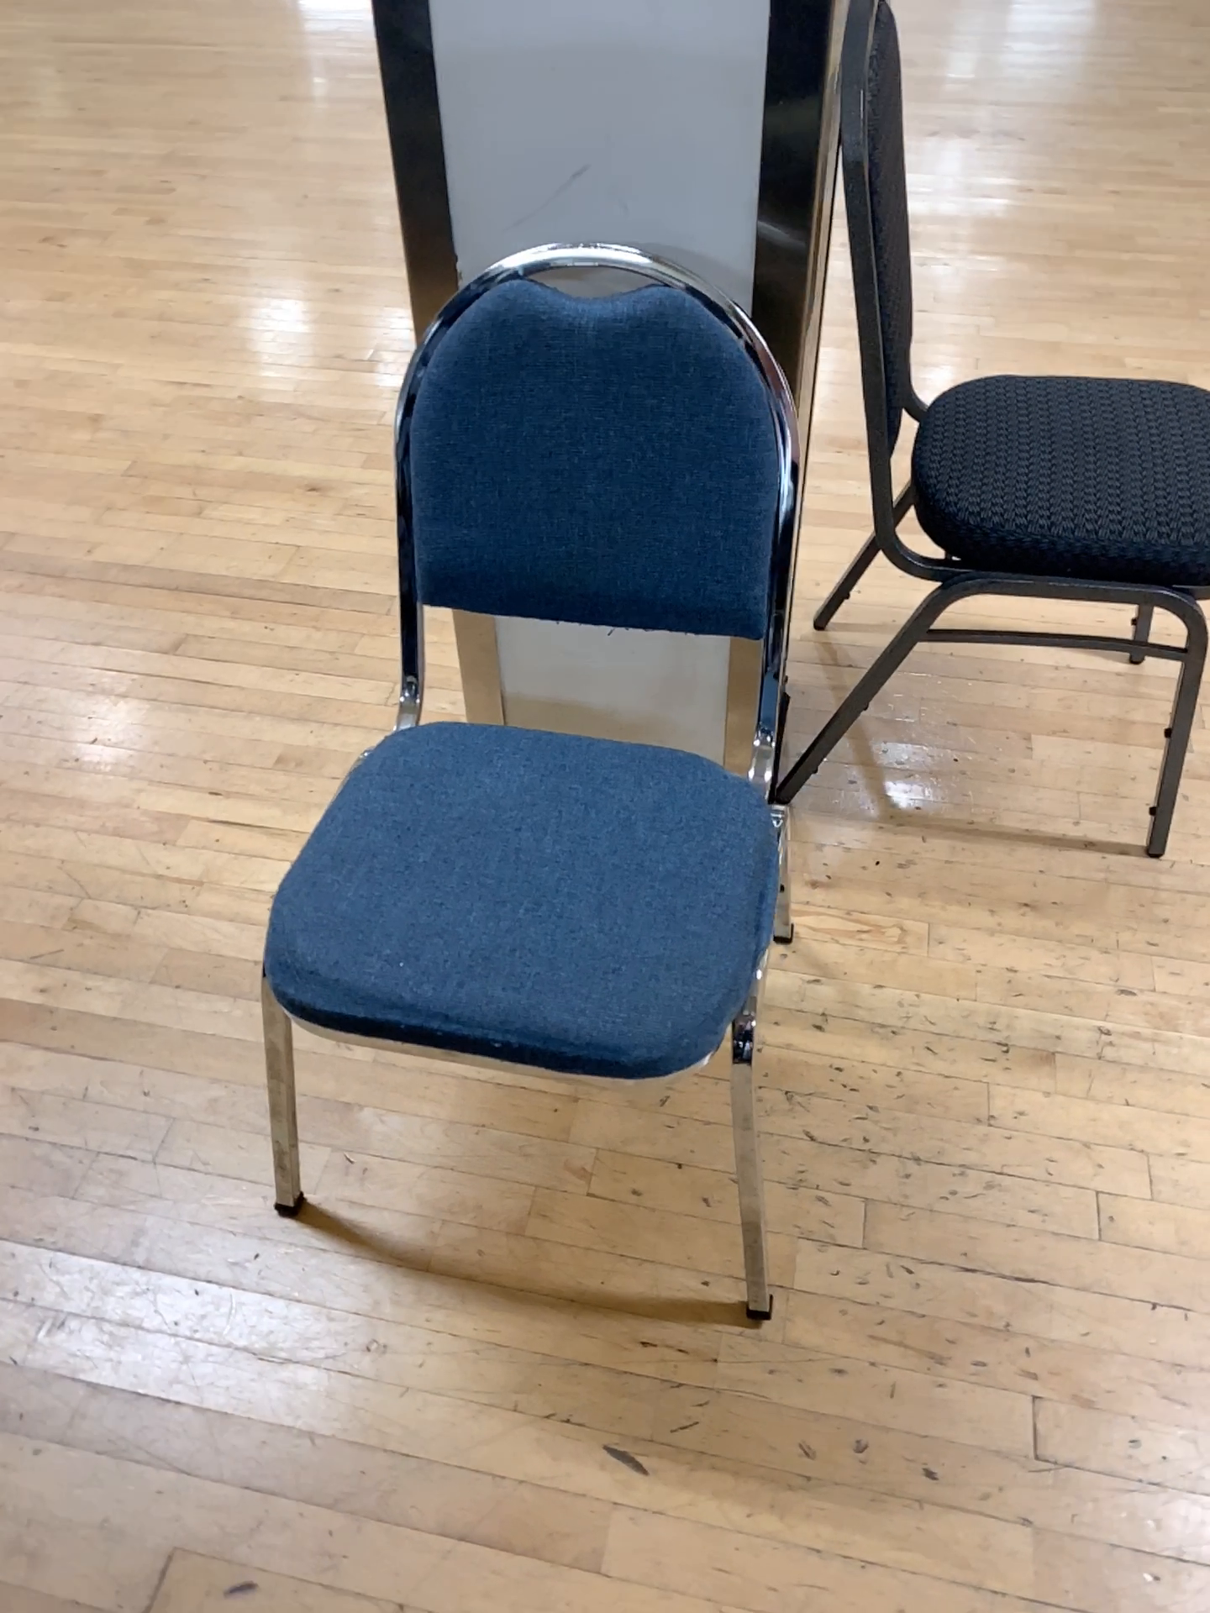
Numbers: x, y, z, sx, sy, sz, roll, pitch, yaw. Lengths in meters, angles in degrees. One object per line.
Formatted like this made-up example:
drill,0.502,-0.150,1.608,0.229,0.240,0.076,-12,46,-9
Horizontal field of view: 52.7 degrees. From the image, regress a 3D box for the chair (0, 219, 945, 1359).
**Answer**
chair,-0.040,0.016,1.174,0.548,0.888,0.556,9,45,10
